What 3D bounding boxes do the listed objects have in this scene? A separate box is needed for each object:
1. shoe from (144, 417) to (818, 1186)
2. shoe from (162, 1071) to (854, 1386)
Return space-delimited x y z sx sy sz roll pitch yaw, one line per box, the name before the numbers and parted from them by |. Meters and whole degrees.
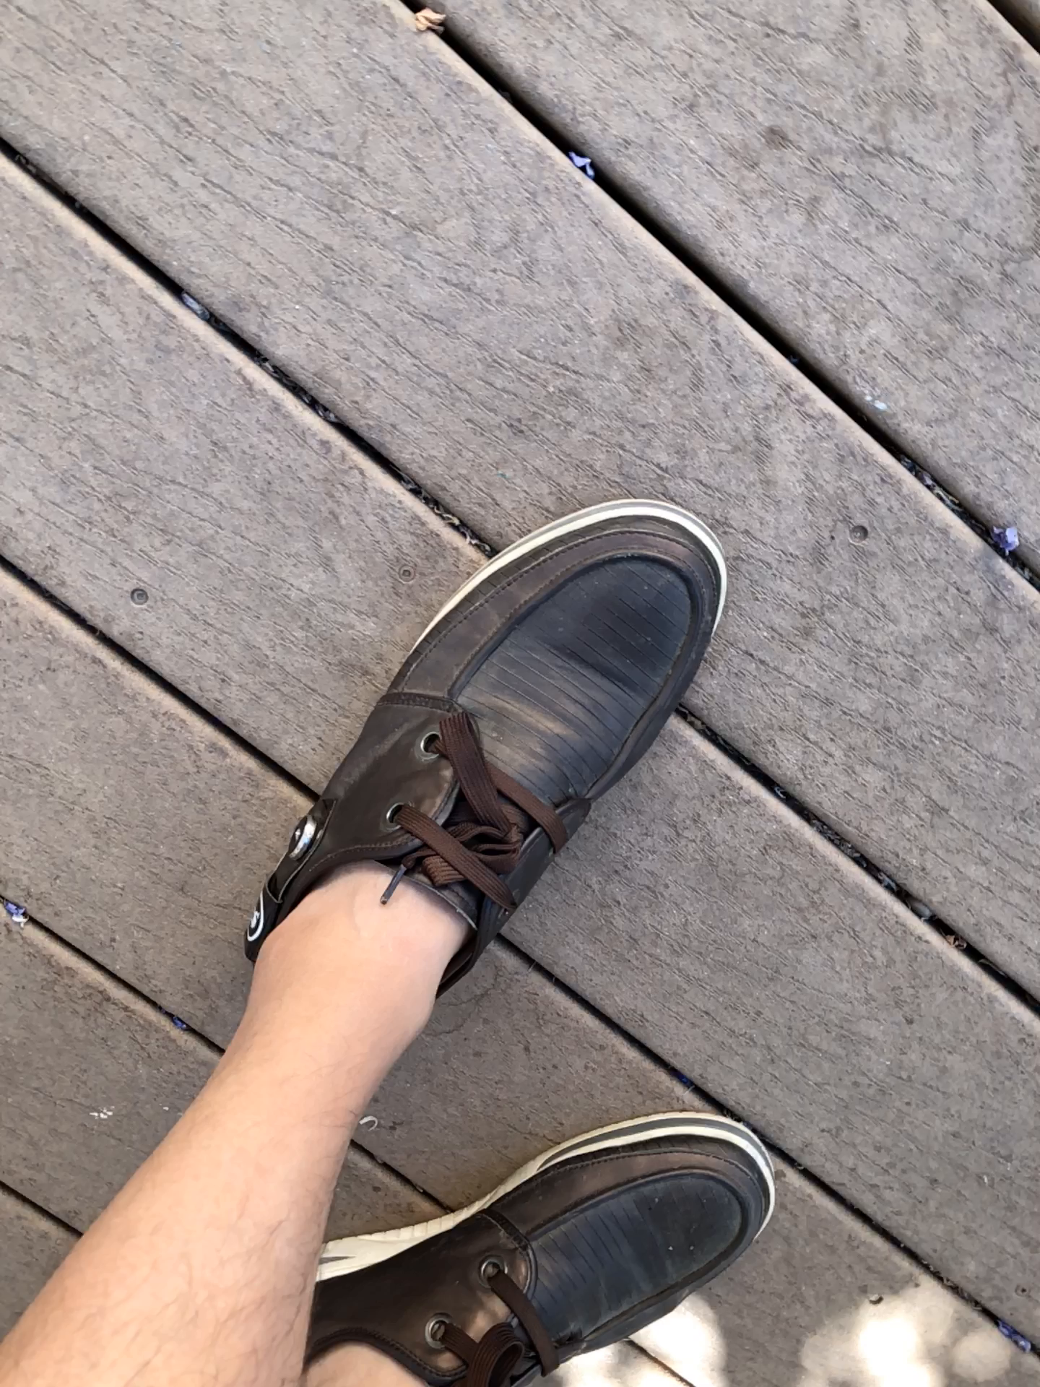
shoe | -0.022 0.043 0.457 0.104 0.096 0.283 33 105 -9
shoe | -0.006 0.287 0.530 0.276 0.090 0.104 -21 106 7
